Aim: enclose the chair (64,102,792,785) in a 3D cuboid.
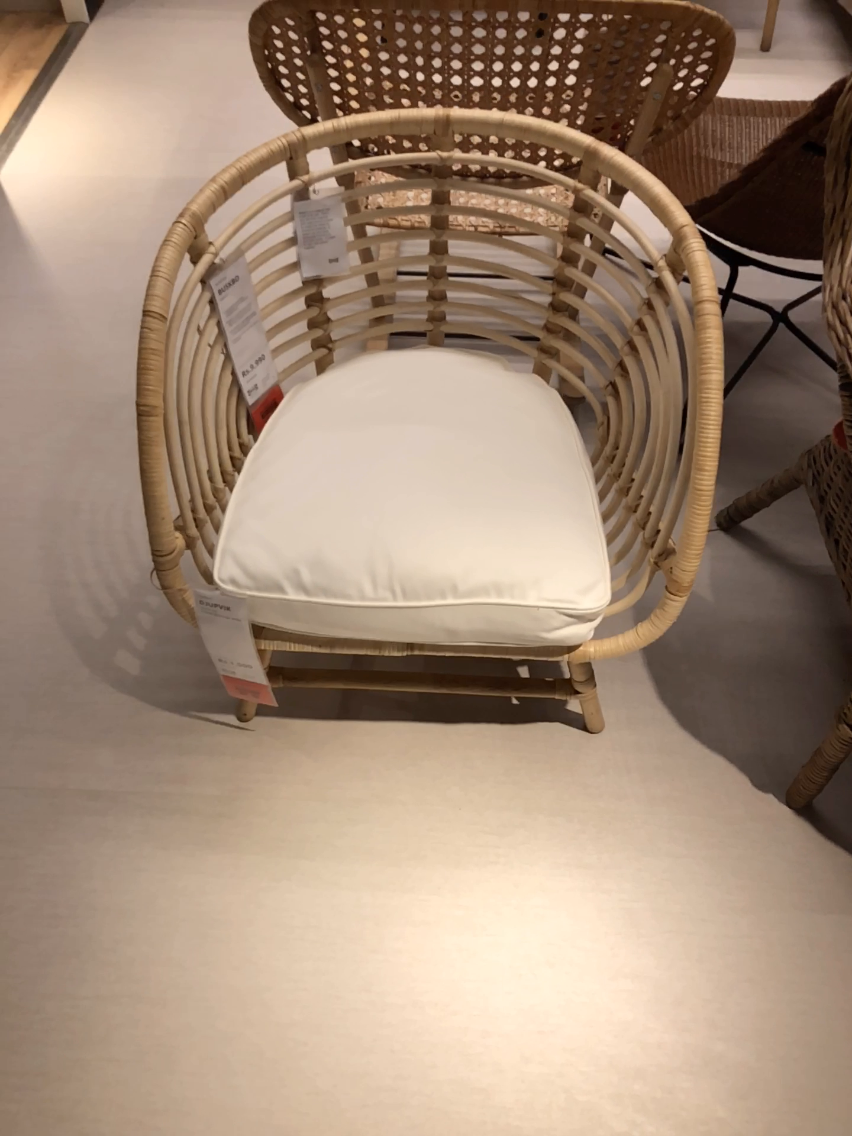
[{"bbox_3d":[0.016,-0.163,1.489,0.750,0.825,0.684,2,52,2],"label":"chair"}]
